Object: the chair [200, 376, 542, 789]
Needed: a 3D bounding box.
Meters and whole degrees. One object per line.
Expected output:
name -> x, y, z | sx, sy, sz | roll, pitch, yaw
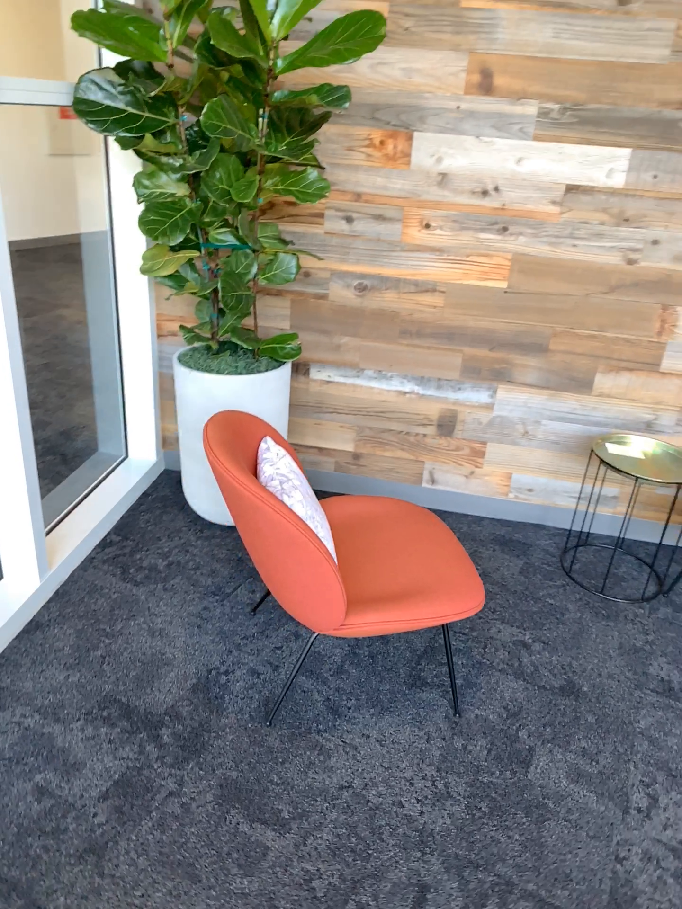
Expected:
chair -> -0.009, 0.286, 1.897 | 0.700, 0.796, 0.704 | -2, 26, -12
